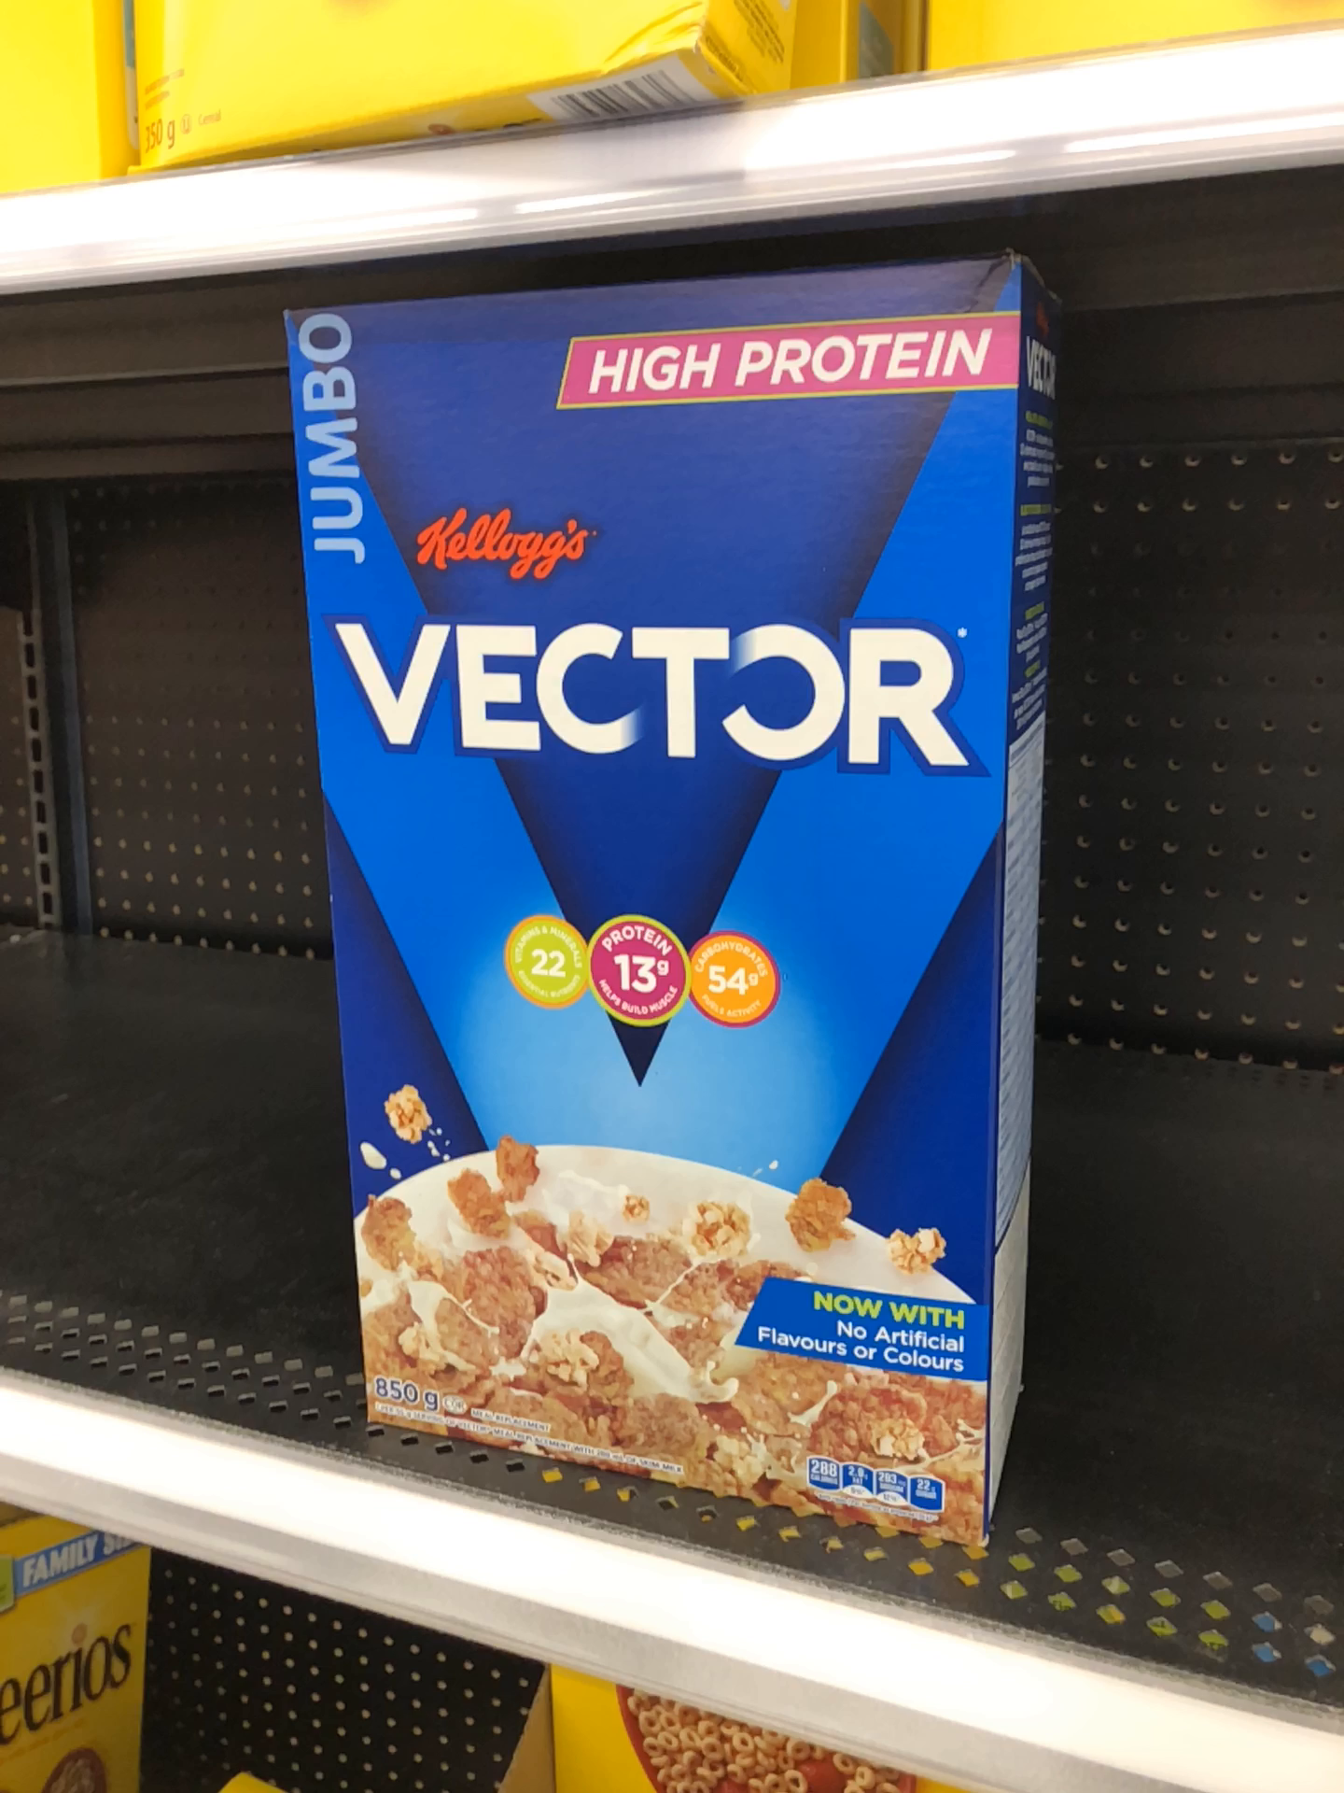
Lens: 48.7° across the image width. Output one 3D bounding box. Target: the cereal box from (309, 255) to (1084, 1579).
[{"bbox_3d":[0.010,0.006,0.450,0.200,0.348,0.080,4,14,20],"label":"cereal box"}]
